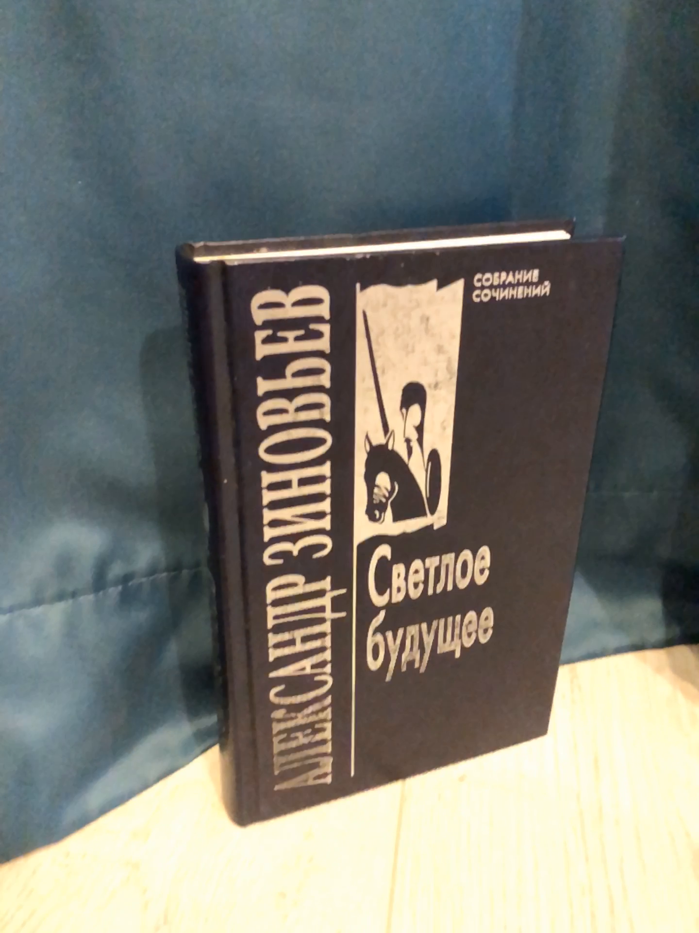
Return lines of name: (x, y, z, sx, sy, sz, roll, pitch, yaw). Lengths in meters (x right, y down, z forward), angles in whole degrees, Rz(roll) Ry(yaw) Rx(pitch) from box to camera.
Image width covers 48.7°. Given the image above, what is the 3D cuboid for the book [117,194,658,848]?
book: (0.013, 0.018, 0.260, 0.150, 0.199, 0.040, -9, 26, -19)
